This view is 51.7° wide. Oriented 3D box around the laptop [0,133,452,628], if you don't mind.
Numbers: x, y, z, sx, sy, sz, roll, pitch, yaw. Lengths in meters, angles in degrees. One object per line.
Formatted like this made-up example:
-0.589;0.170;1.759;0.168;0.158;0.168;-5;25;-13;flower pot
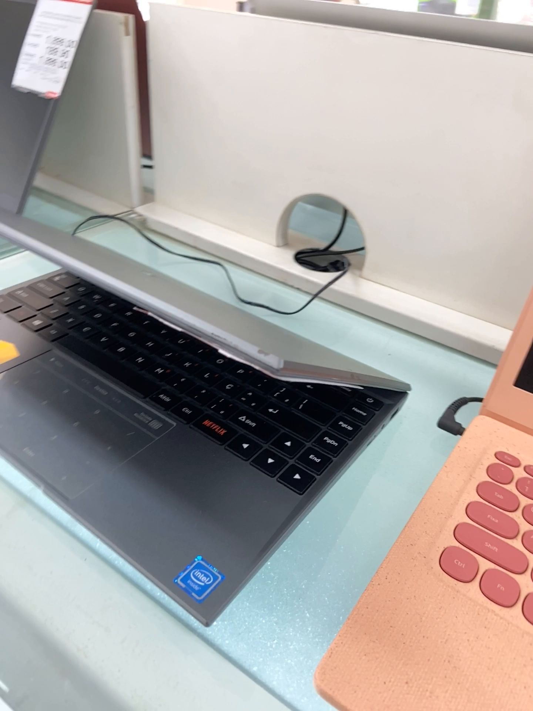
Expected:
-0.091;-0.037;0.359;0.334;0.113;0.211;26;40;28;laptop
